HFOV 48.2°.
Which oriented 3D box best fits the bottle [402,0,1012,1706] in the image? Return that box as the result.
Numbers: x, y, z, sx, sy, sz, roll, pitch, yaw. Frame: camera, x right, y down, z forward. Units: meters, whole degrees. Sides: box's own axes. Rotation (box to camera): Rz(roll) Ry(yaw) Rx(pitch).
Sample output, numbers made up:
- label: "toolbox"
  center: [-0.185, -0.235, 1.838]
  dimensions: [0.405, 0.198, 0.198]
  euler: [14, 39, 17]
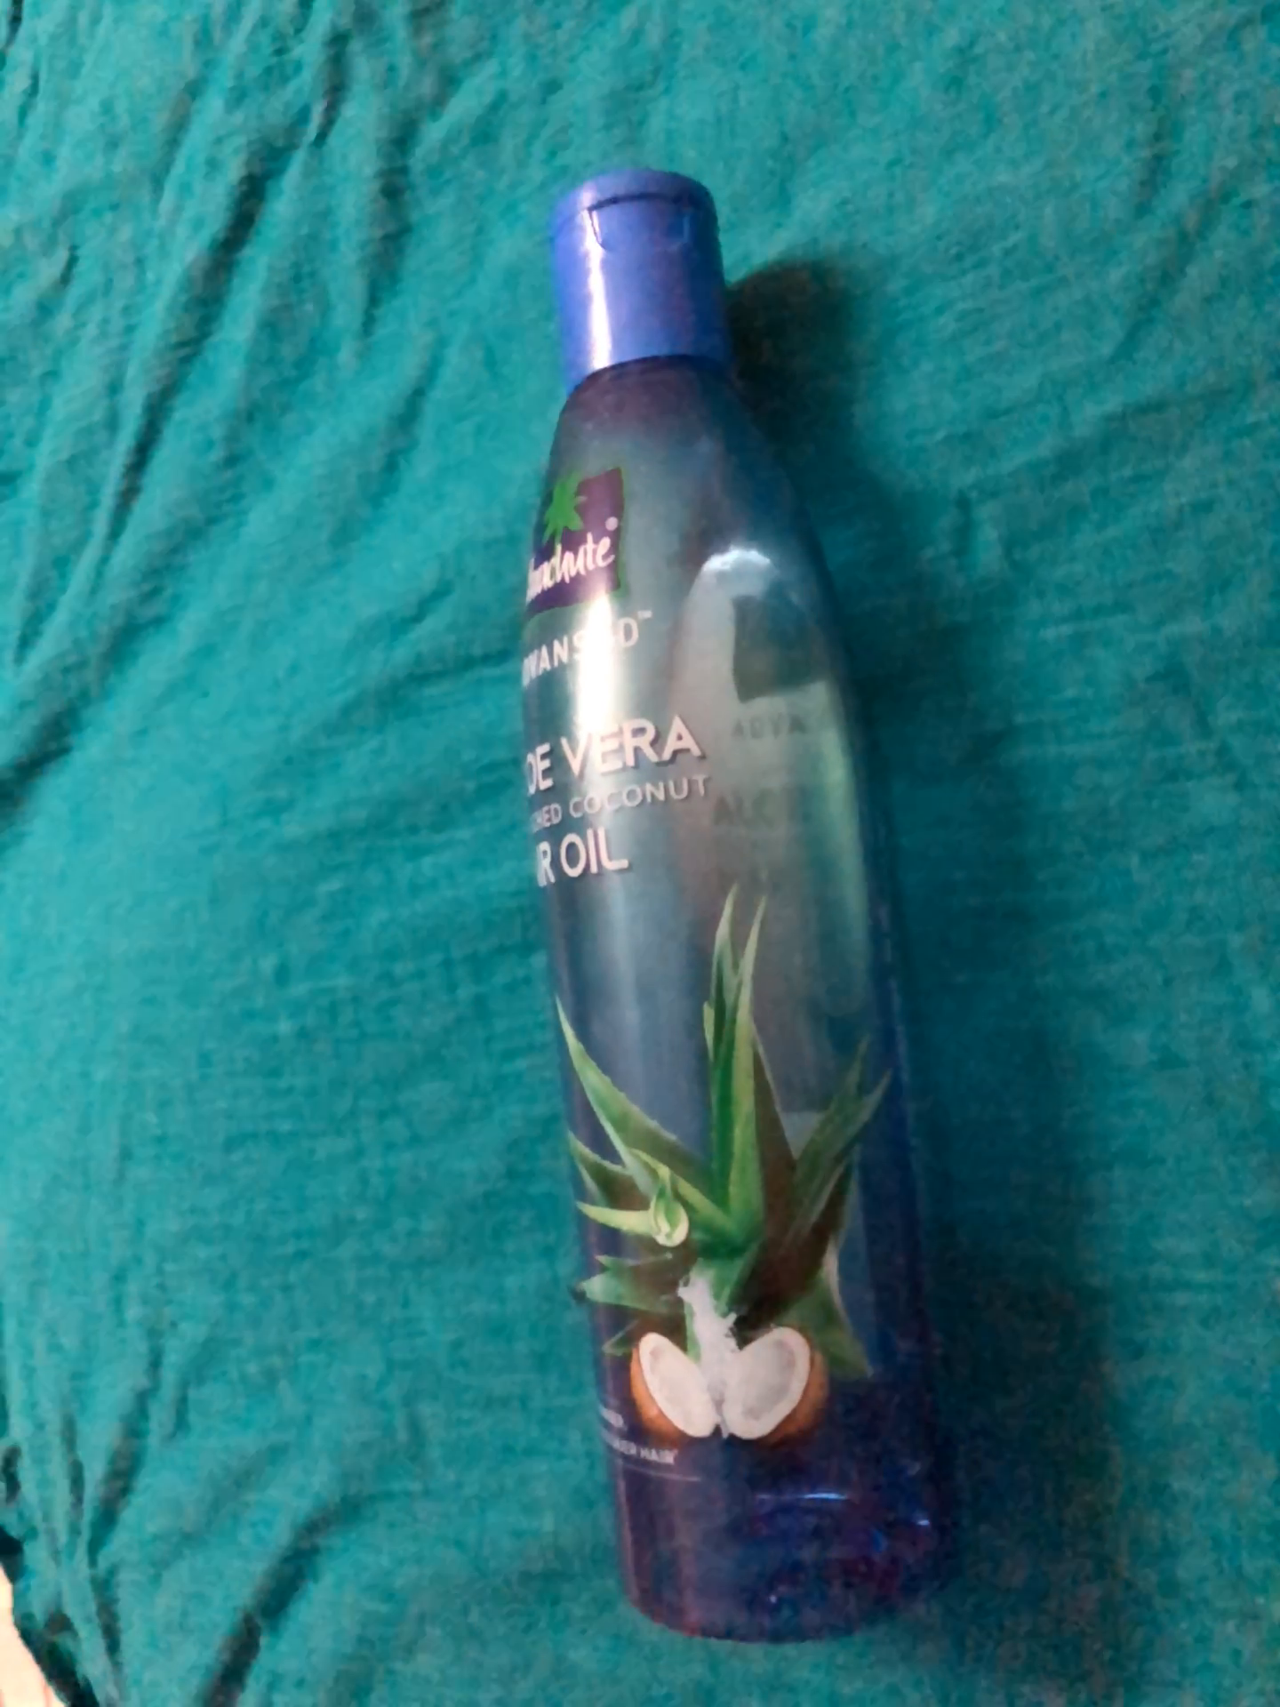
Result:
- label: "bottle"
  center: [0.006, -0.003, 0.196]
  dimensions: [0.050, 0.040, 0.210]
  euler: [-12, 81, 46]
